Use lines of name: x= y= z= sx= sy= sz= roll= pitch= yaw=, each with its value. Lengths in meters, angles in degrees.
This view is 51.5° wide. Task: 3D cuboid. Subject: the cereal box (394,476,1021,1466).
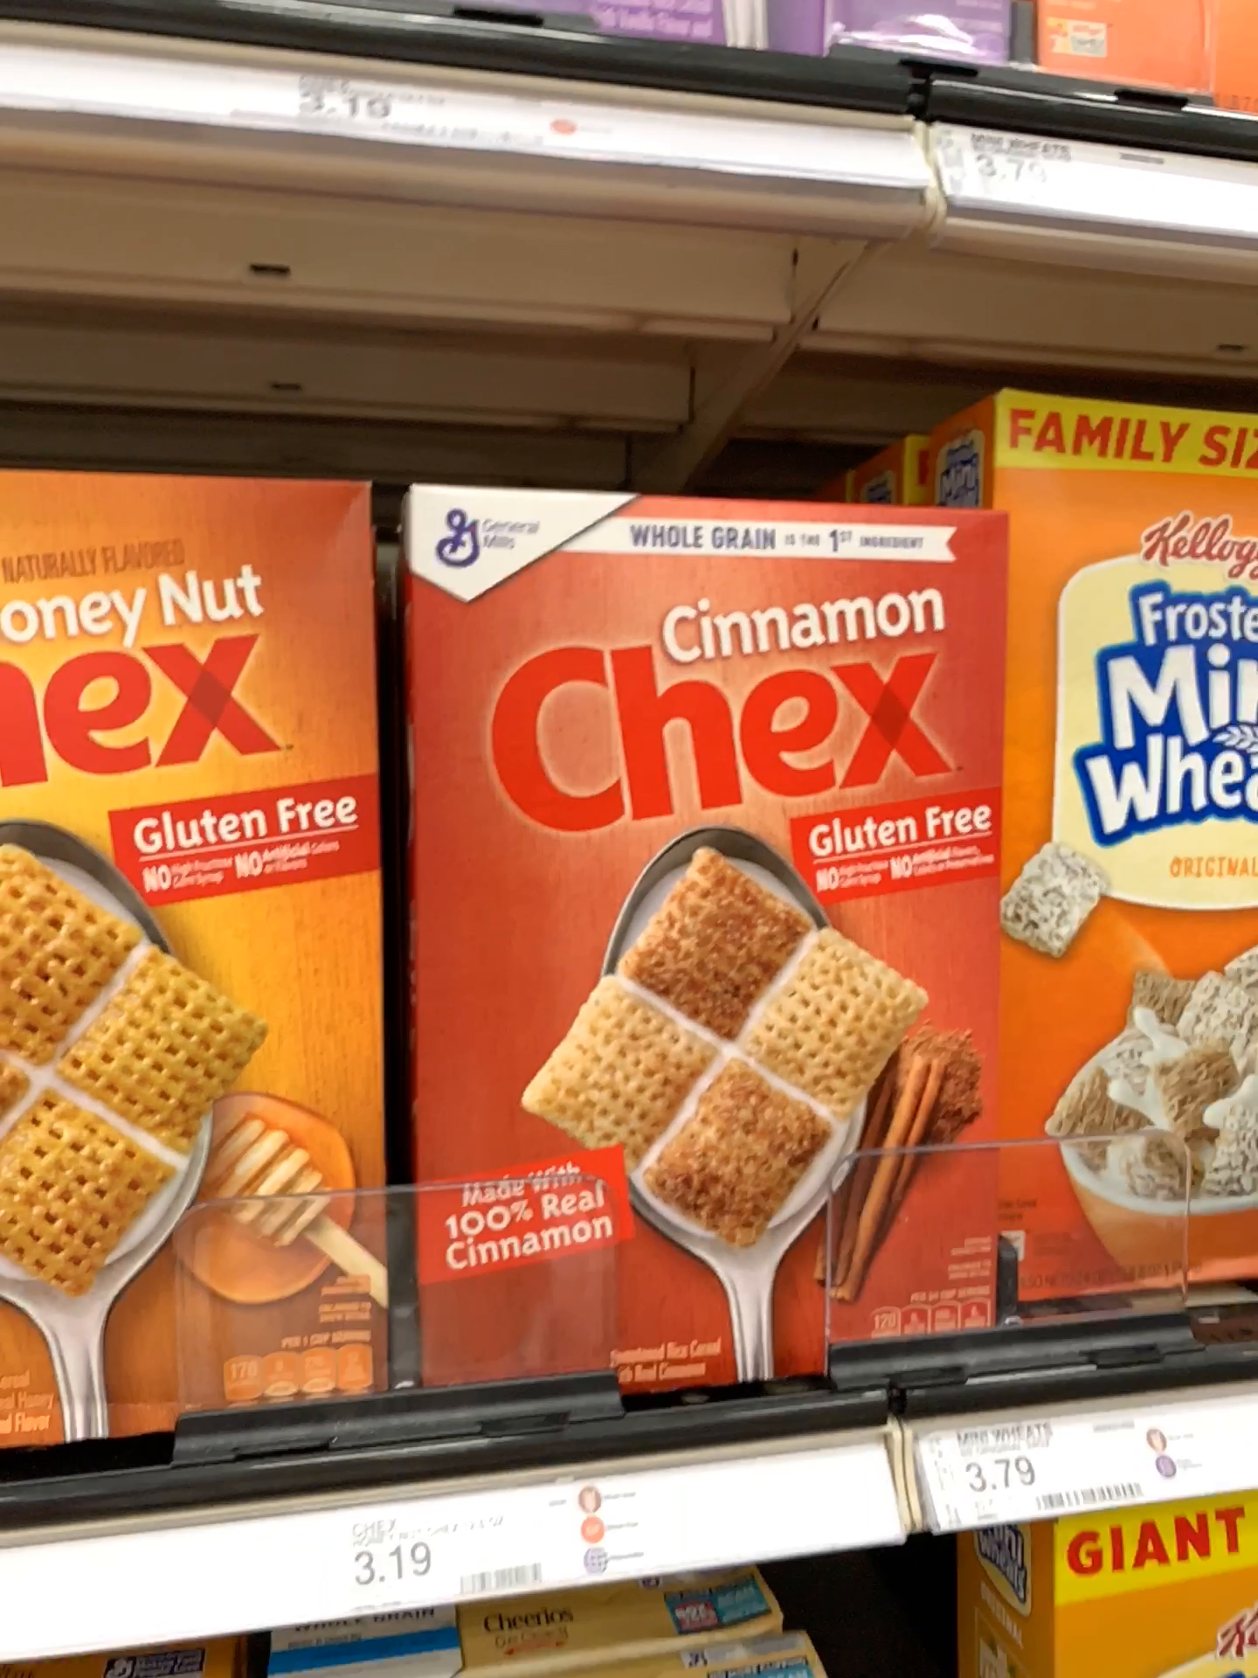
cereal box: x=0.024 y=0.039 z=0.443 sx=0.200 sy=0.300 sz=0.060 roll=-1 pitch=3 yaw=-12

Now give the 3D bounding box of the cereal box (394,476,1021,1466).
cereal box: x=0.024 y=0.039 z=0.443 sx=0.200 sy=0.300 sz=0.060 roll=-1 pitch=3 yaw=-12
